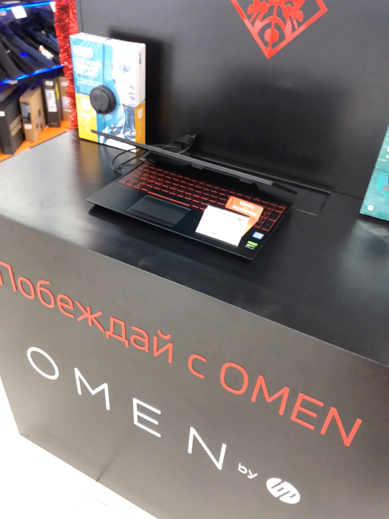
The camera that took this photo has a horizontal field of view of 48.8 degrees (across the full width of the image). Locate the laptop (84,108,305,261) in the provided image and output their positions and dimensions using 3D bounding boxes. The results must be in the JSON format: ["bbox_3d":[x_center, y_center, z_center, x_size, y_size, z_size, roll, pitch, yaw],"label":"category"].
[{"bbox_3d":[-0.001,-0.166,0.831,0.351,0.121,0.231,21,42,23],"label":"laptop"}]
